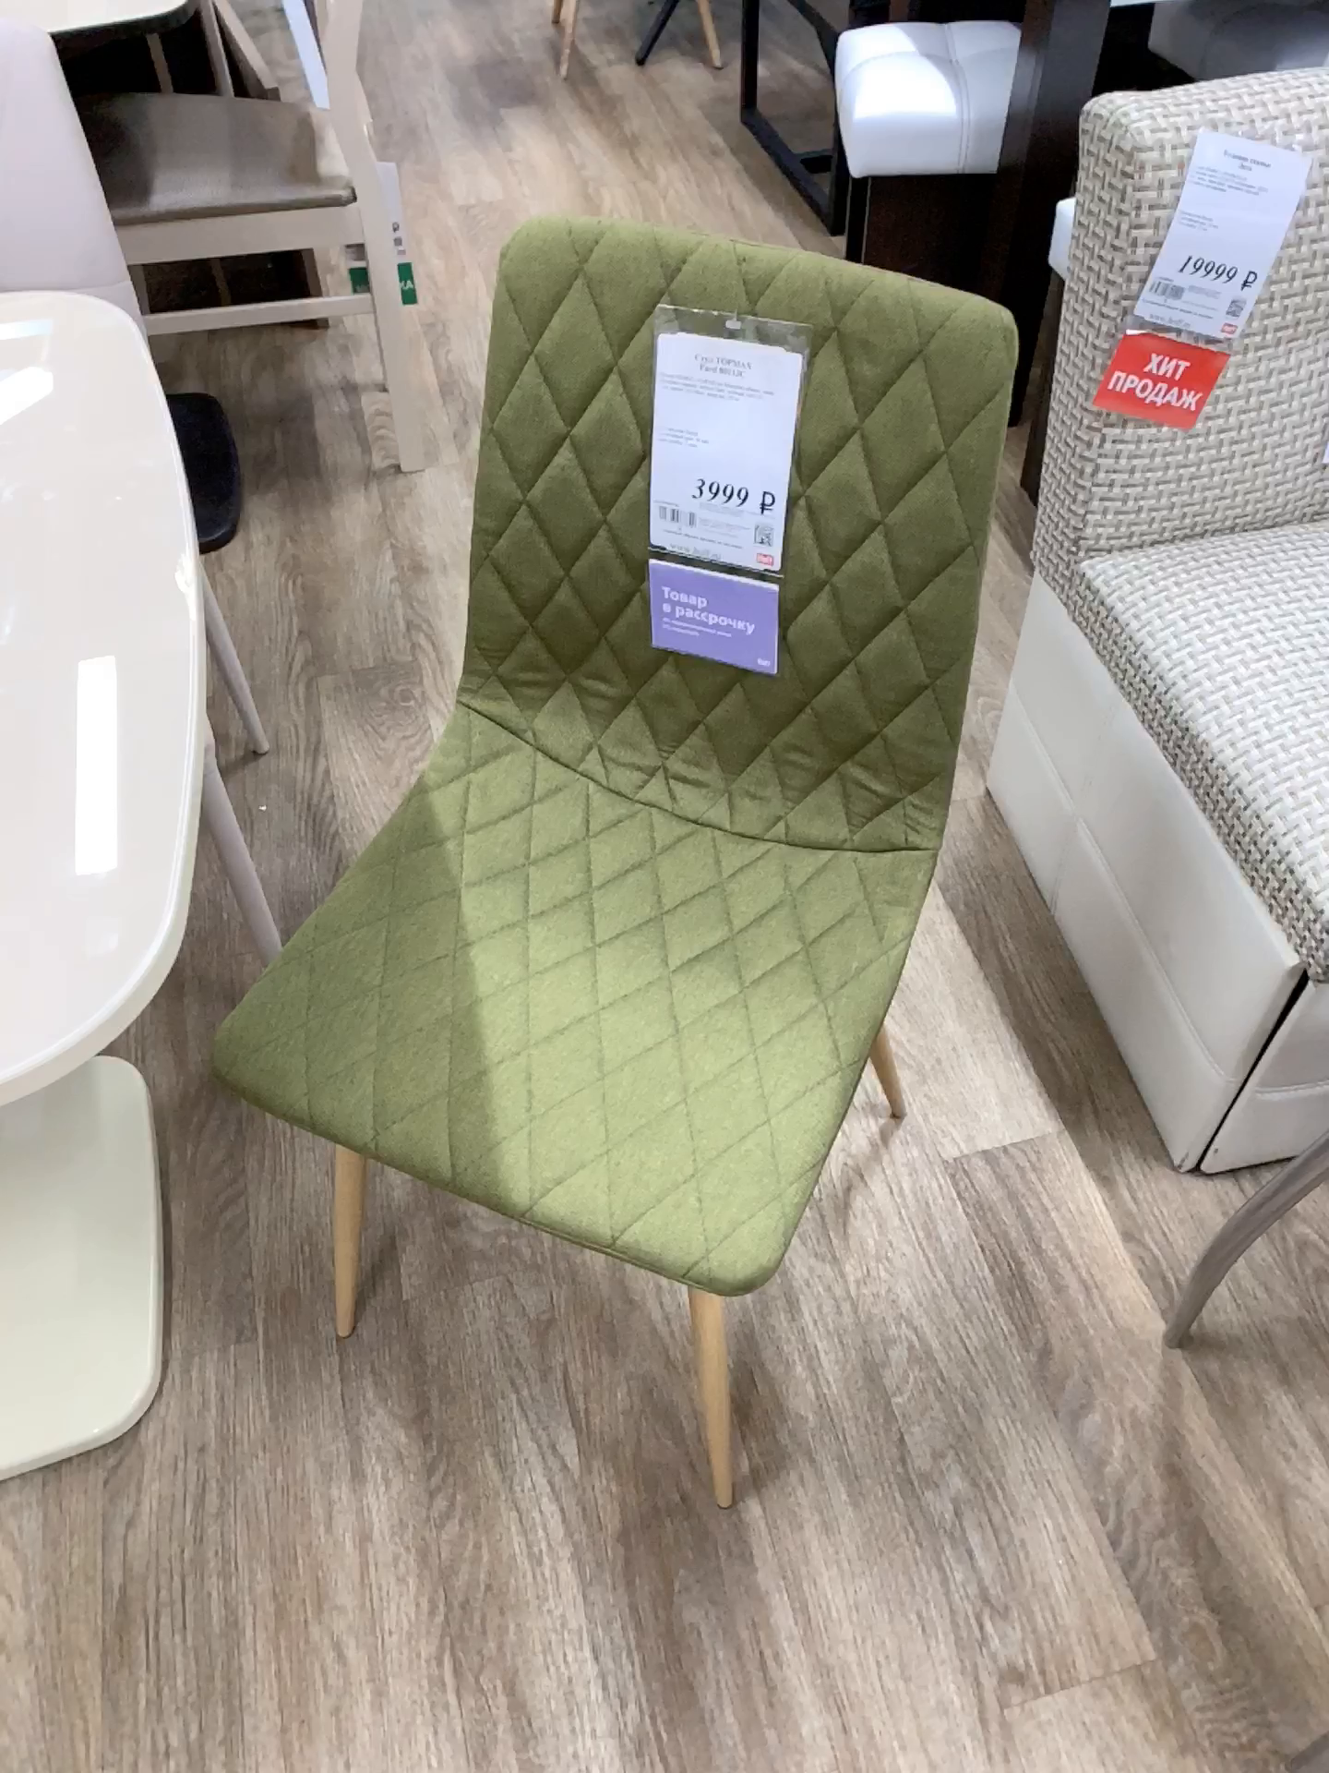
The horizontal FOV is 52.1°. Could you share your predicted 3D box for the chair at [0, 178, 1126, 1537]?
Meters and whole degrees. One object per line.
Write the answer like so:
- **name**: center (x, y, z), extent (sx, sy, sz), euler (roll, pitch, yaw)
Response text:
- **chair**: center (-0.039, 0.019, 1.088), extent (0.500, 0.836, 0.562), euler (18, 52, 16)
